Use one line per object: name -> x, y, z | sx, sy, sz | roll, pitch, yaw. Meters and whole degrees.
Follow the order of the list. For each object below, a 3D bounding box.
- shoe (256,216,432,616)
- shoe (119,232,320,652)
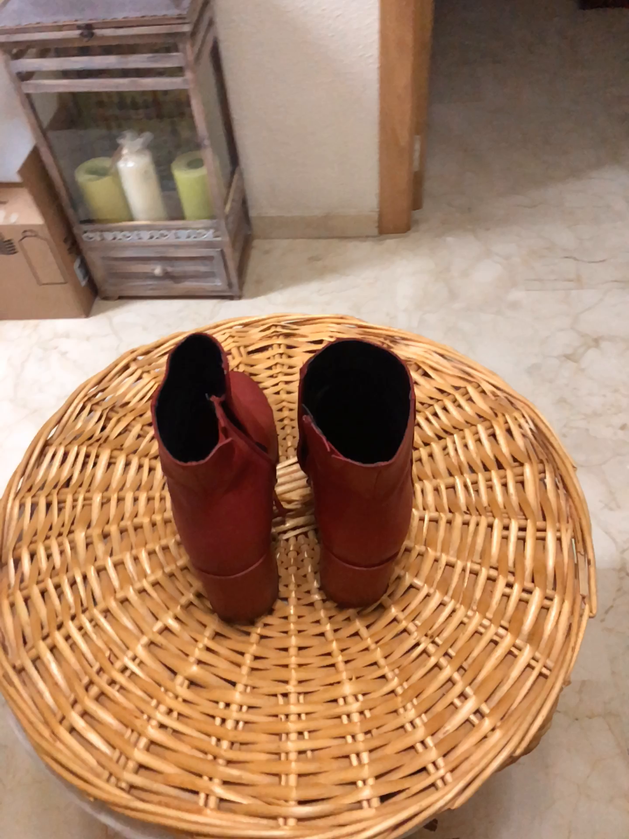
shoe -> 0.026, -0.004, 0.535 | 0.098, 0.184, 0.245 | -1, 51, 4
shoe -> -0.070, 0.014, 0.527 | 0.098, 0.184, 0.245 | -10, 51, -3
